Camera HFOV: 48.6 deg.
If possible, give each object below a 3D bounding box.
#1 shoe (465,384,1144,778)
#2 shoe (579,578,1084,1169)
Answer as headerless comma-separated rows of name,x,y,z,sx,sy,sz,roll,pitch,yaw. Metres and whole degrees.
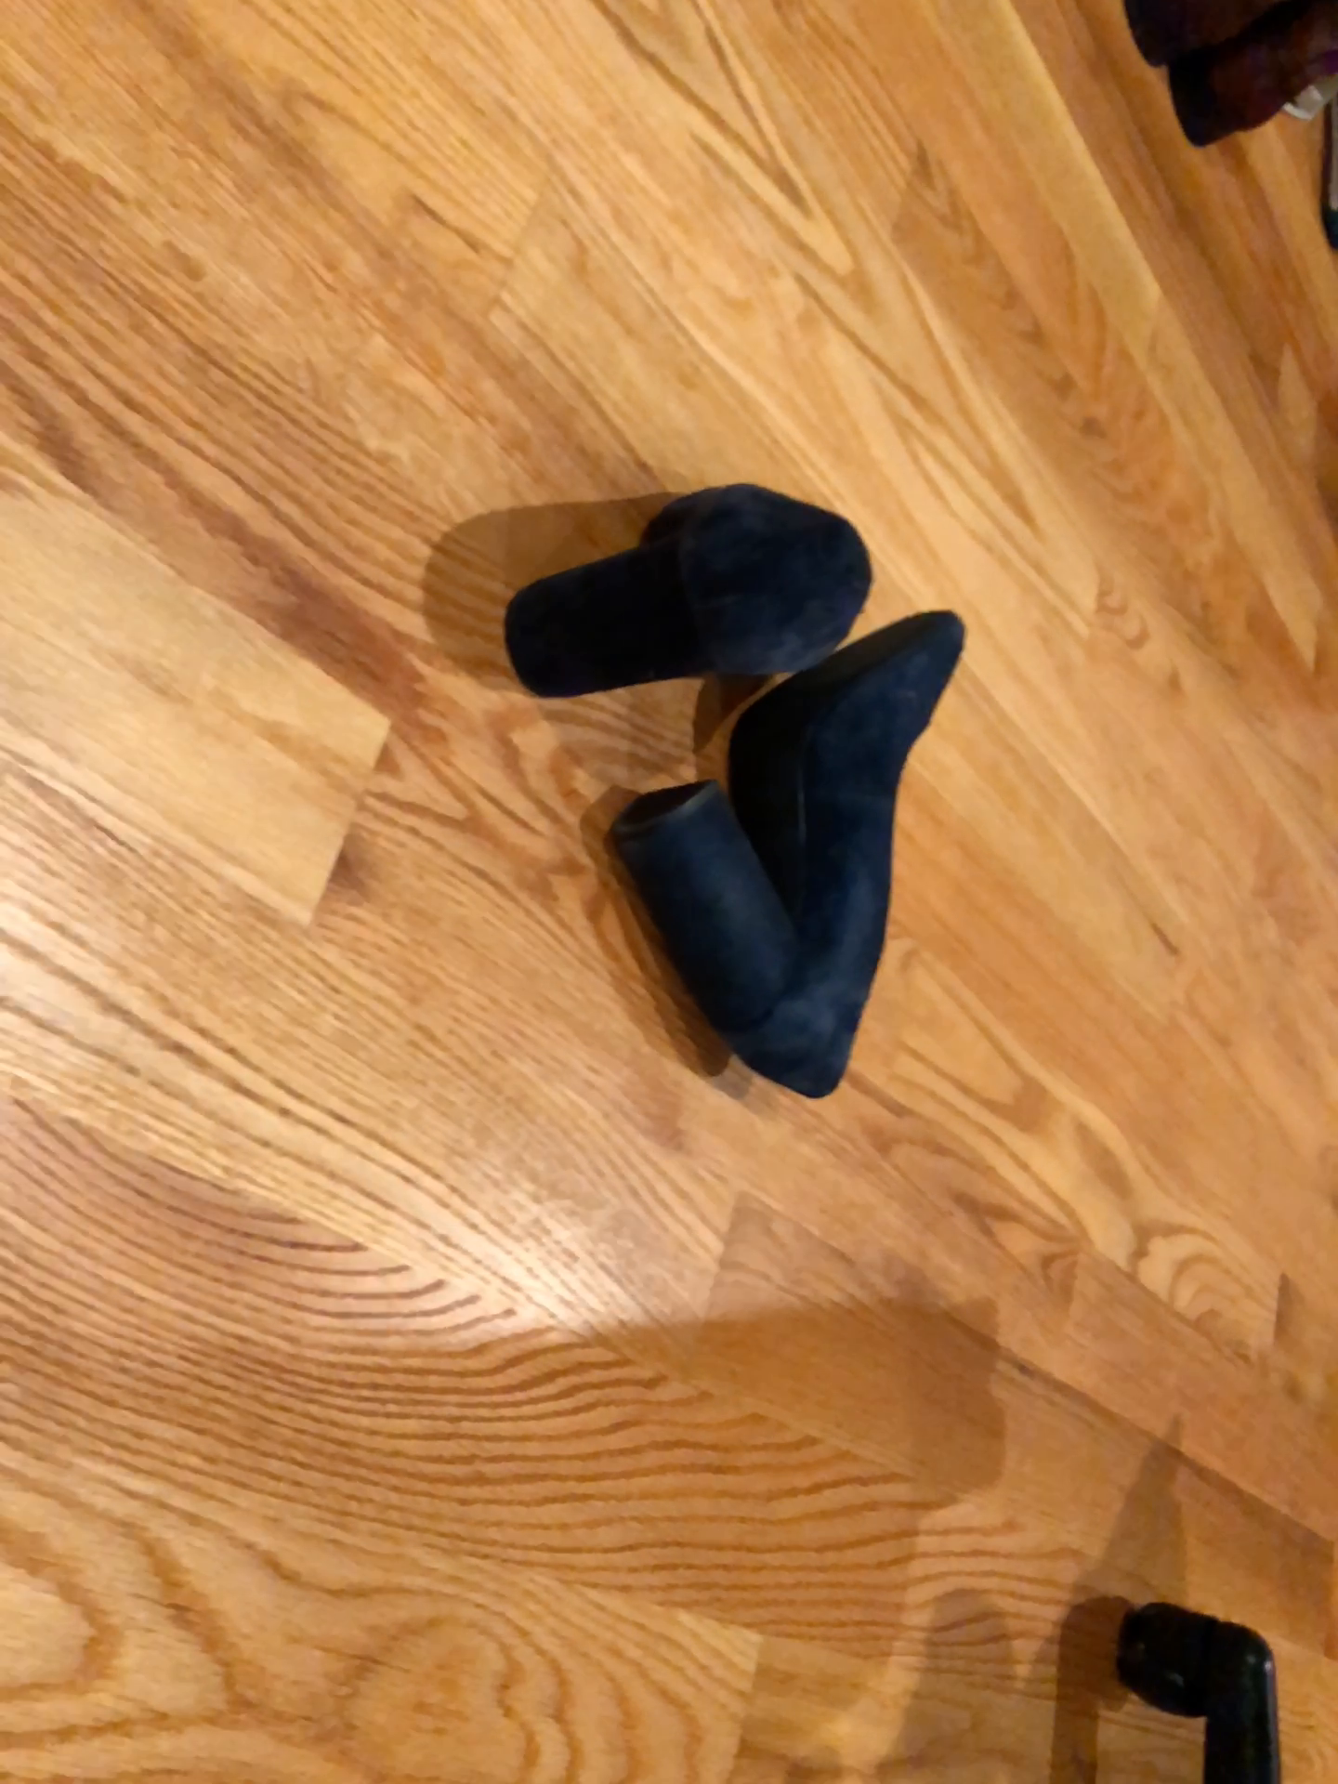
shoe,0.062,-0.122,0.565,0.227,0.146,0.080,-30,109,-47
shoe,0.080,-0.013,0.621,0.205,0.080,0.152,-46,120,-41
